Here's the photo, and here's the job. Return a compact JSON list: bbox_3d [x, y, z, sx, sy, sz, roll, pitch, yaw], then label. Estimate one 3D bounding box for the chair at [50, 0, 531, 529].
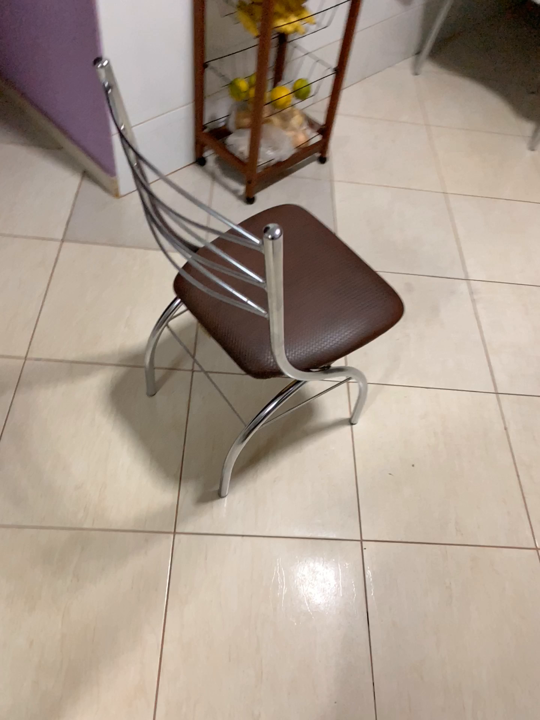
[{"bbox_3d":[-0.016,-0.115,1.077,0.485,0.872,0.419,-29,64,-25],"label":"chair"}]
